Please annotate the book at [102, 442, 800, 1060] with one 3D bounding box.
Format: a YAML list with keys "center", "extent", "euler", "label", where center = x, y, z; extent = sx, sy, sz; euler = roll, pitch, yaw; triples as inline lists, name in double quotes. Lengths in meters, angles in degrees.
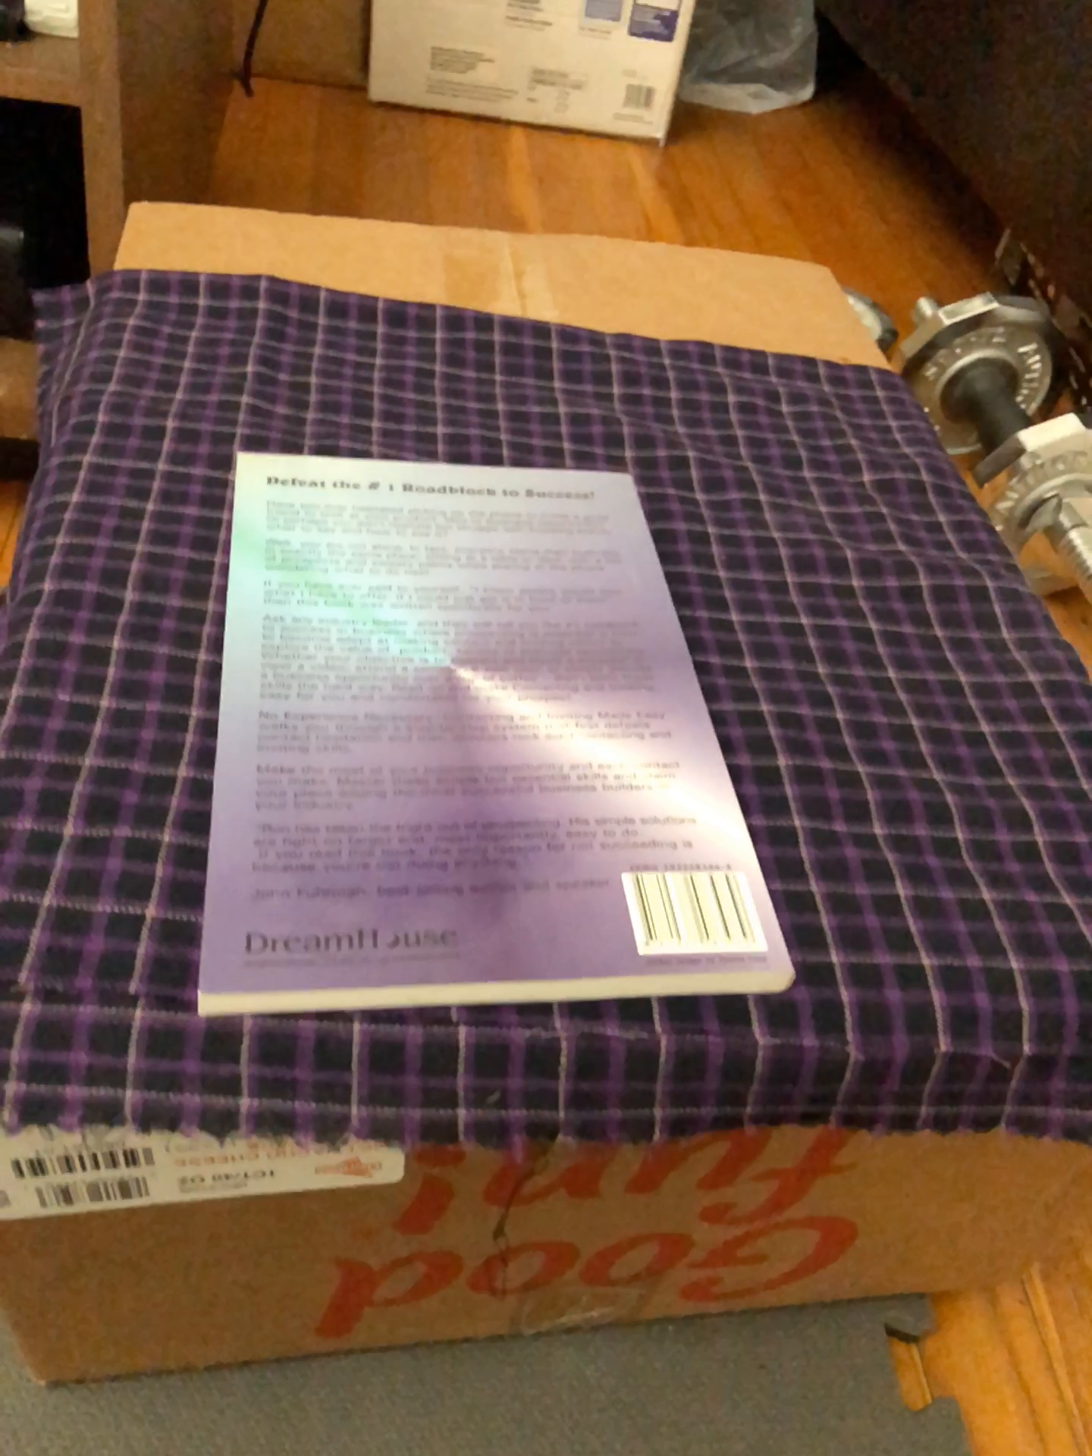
- center: [-0.034, -0.011, 0.358]
  extent: [0.160, 0.020, 0.221]
  euler: [0, 46, -12]
  label: "book"
